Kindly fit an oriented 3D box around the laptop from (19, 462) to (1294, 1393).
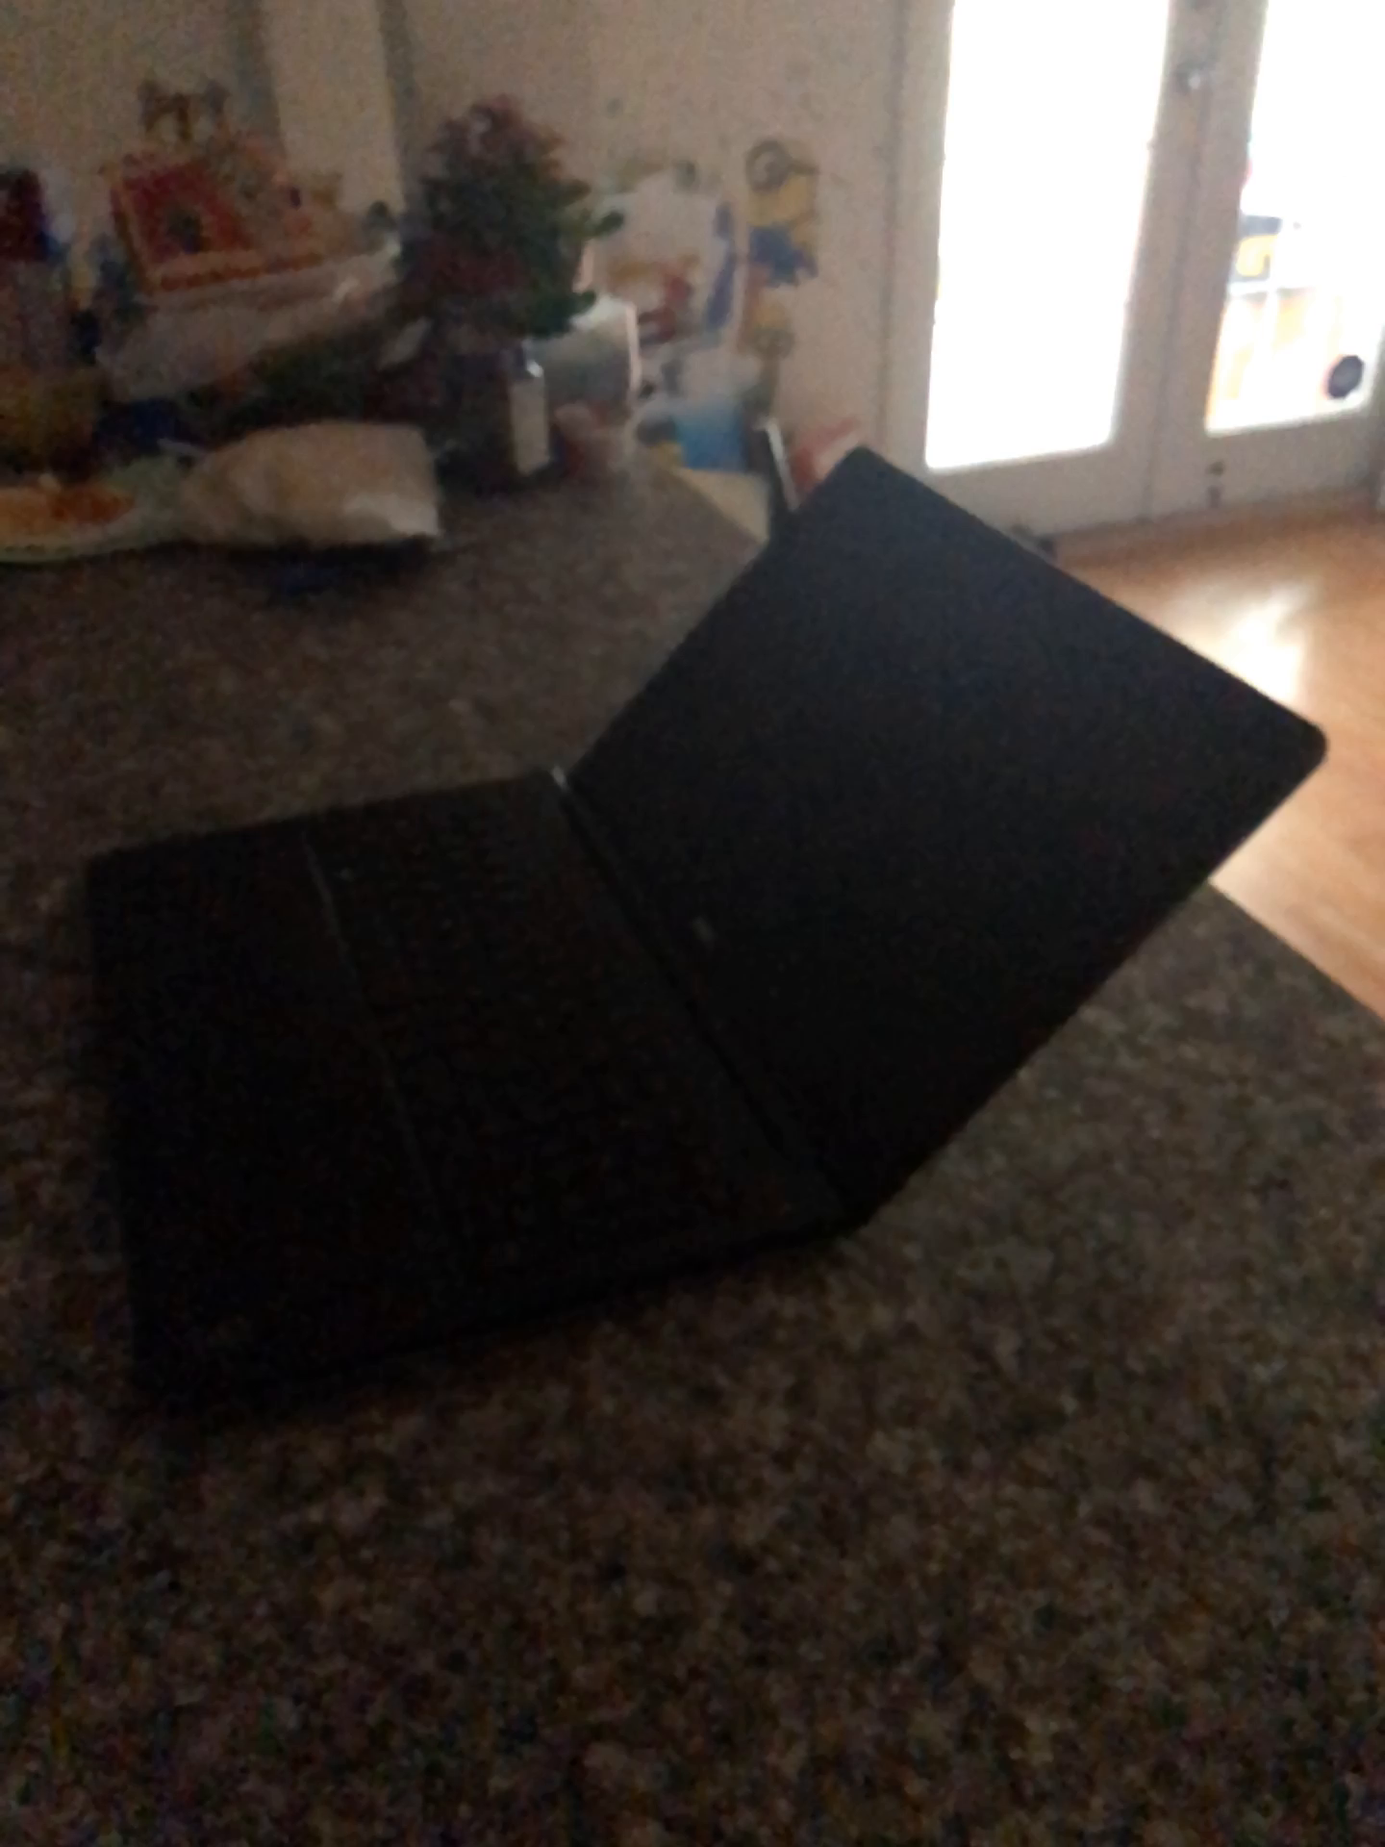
[{"bbox_3d":[-0.046,-0.046,0.663,0.414,0.158,0.363,-12,35,-17],"label":"laptop"}]
